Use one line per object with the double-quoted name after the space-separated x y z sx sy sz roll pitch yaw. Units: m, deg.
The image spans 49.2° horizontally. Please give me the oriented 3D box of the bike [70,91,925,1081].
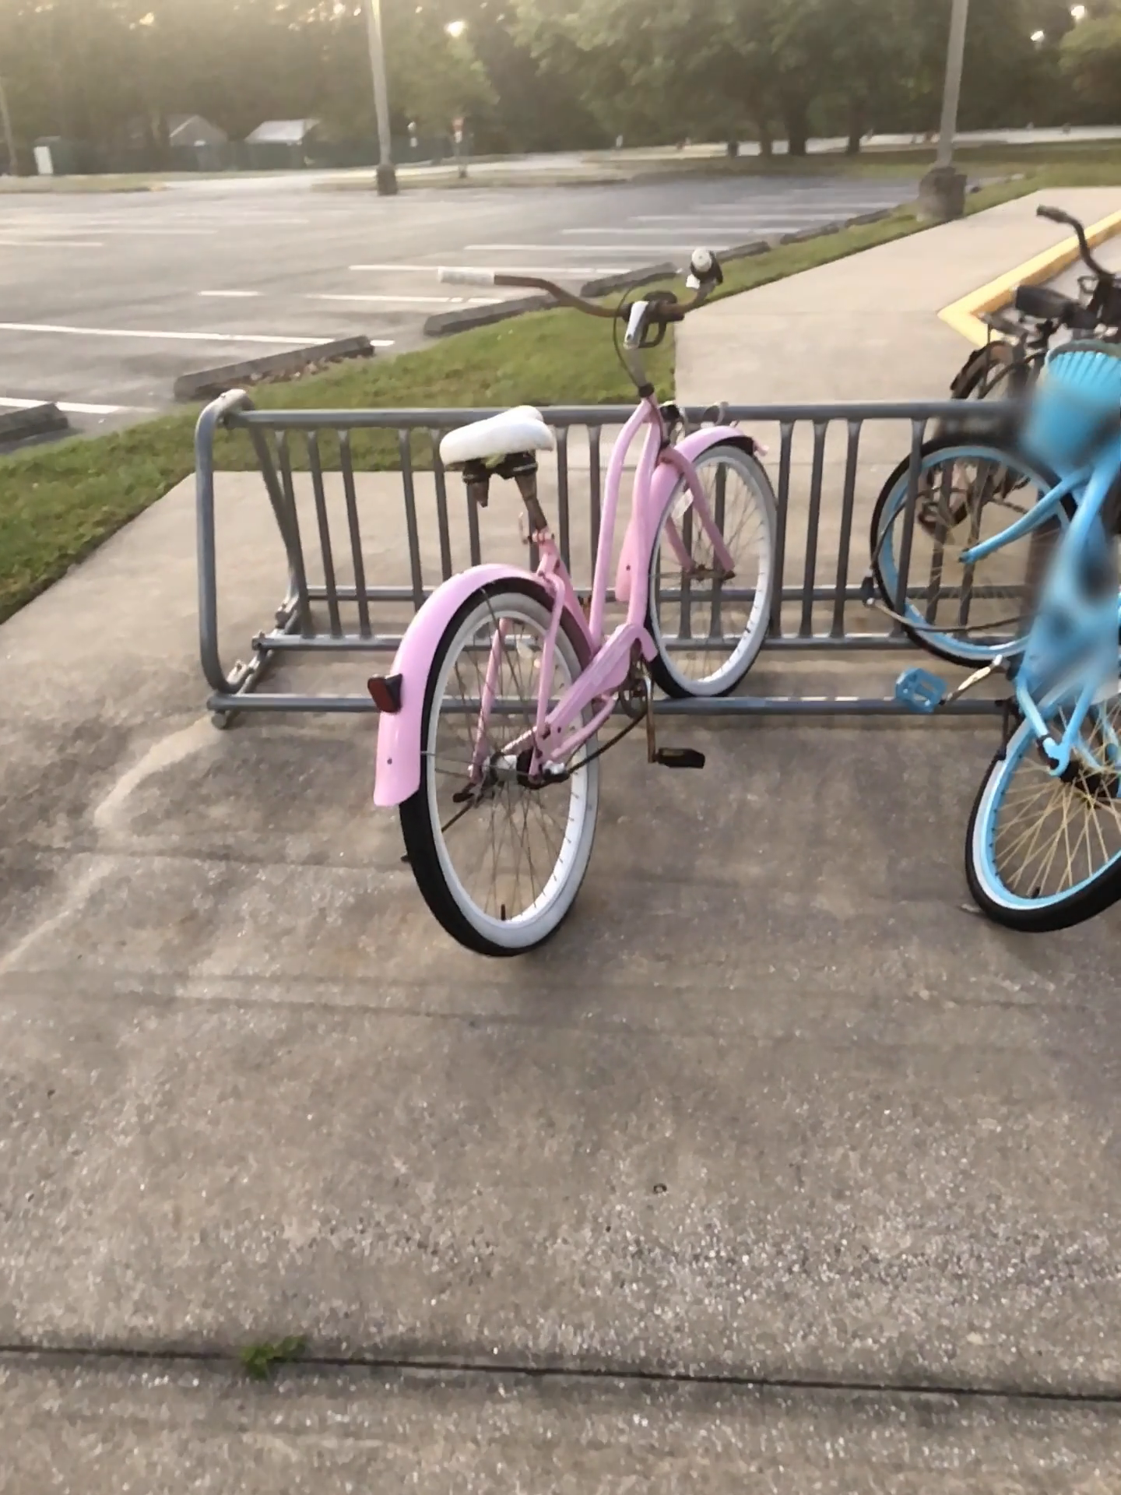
0.059 -0.506 2.428 0.839 1.116 1.660 10 35 24 "bike"
